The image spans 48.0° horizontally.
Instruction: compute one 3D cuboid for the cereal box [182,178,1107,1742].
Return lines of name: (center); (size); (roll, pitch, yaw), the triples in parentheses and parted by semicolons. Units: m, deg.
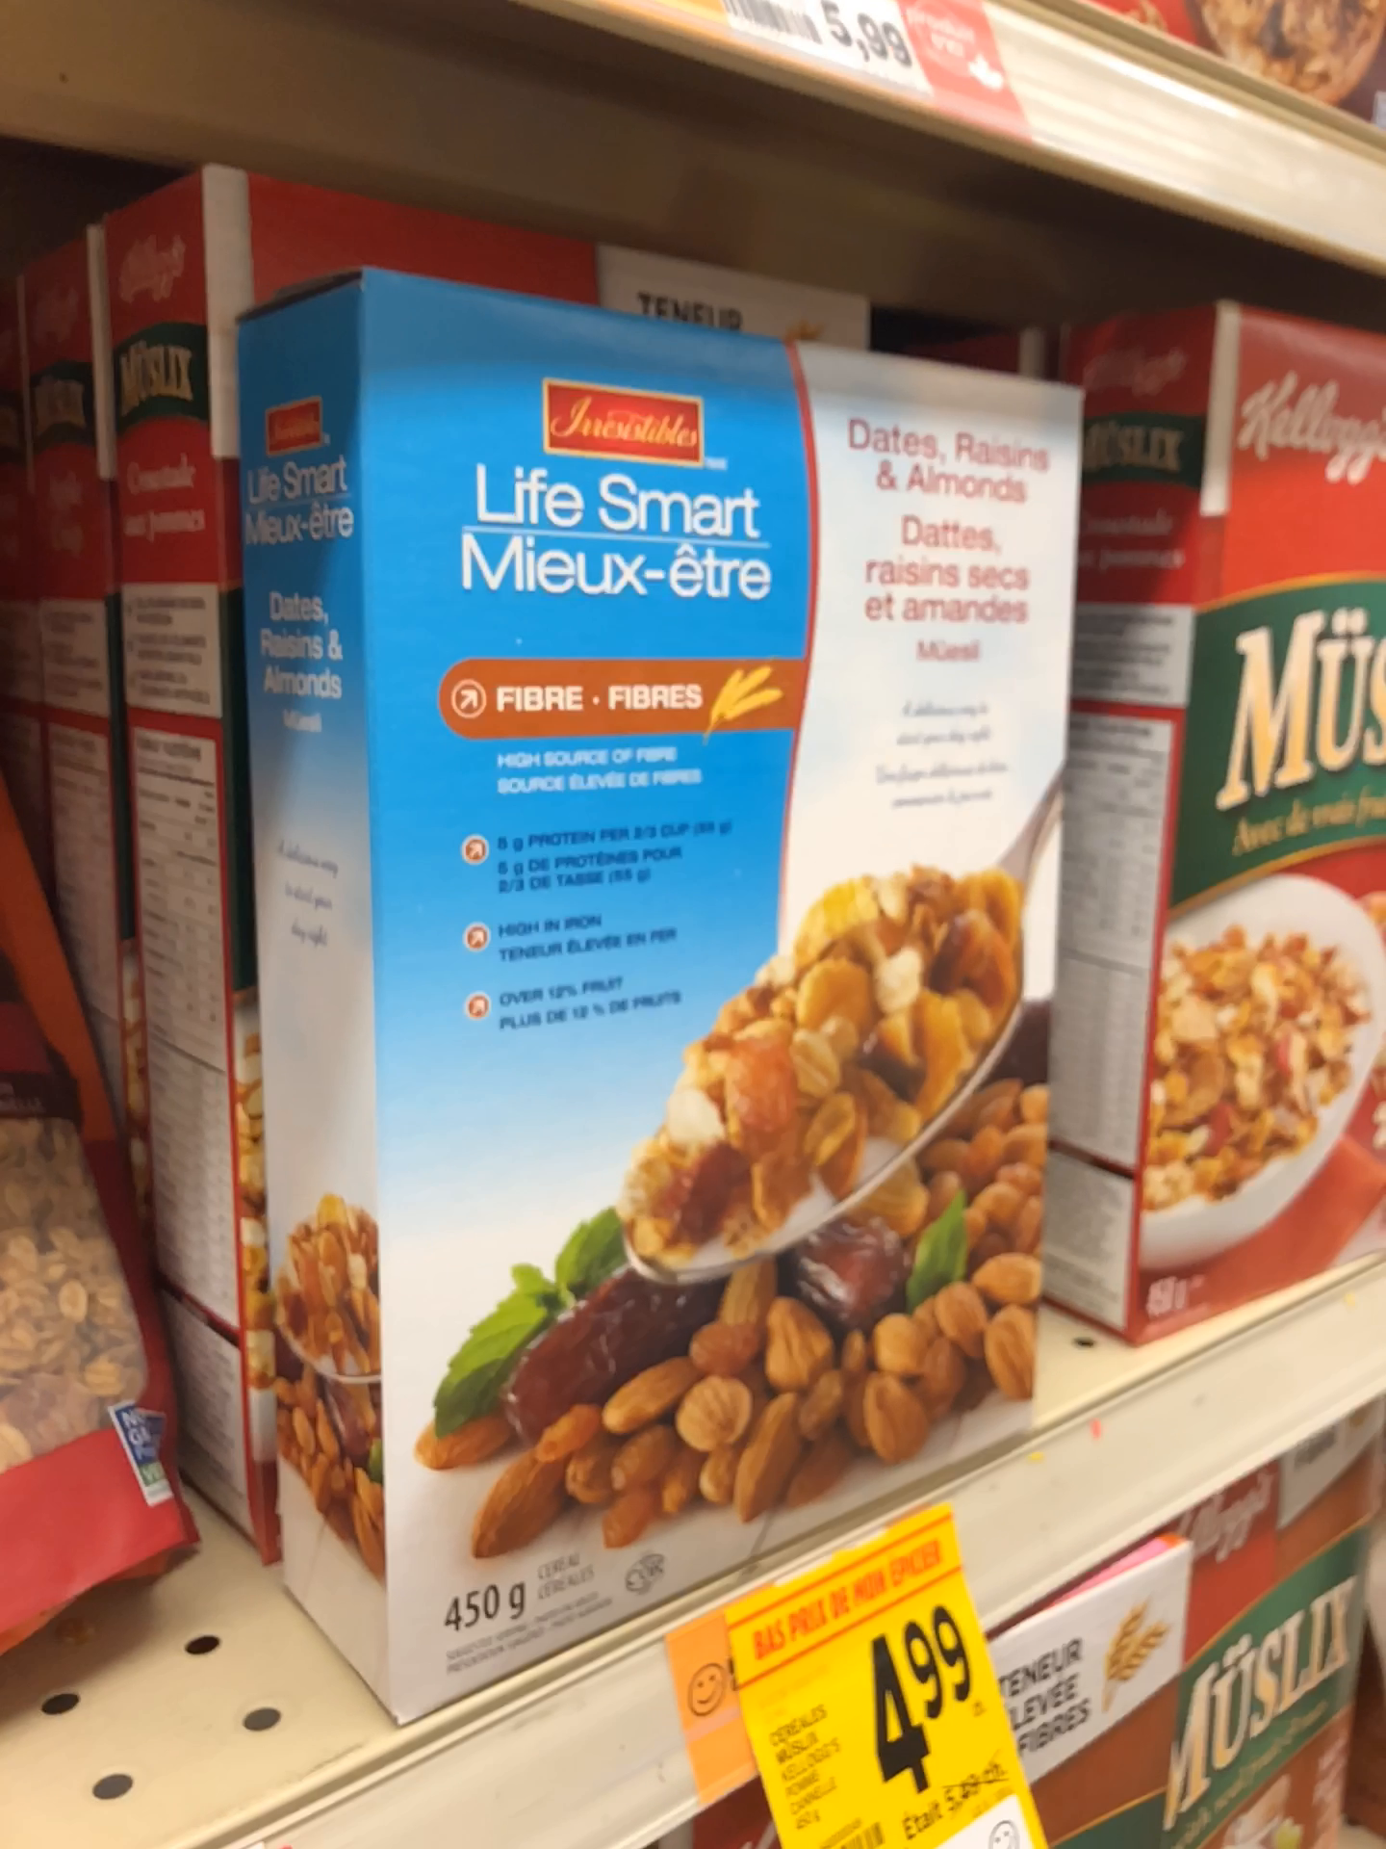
cereal box: (-0.003, 0.003, 0.304); (0.170, 0.239, 0.050); (-7, 14, -37)
